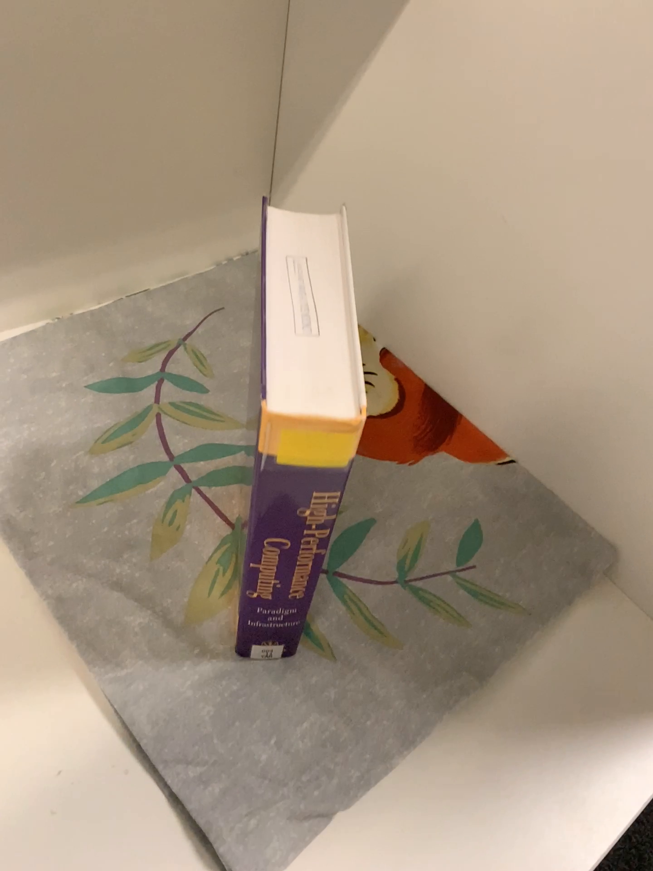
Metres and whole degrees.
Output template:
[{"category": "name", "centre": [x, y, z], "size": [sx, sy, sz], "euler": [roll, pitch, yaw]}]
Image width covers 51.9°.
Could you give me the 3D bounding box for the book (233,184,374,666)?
[{"category": "book", "centre": [-0.025, 0.008, 0.403], "size": [0.049, 0.243, 0.170], "euler": [3, 49, -7]}]
